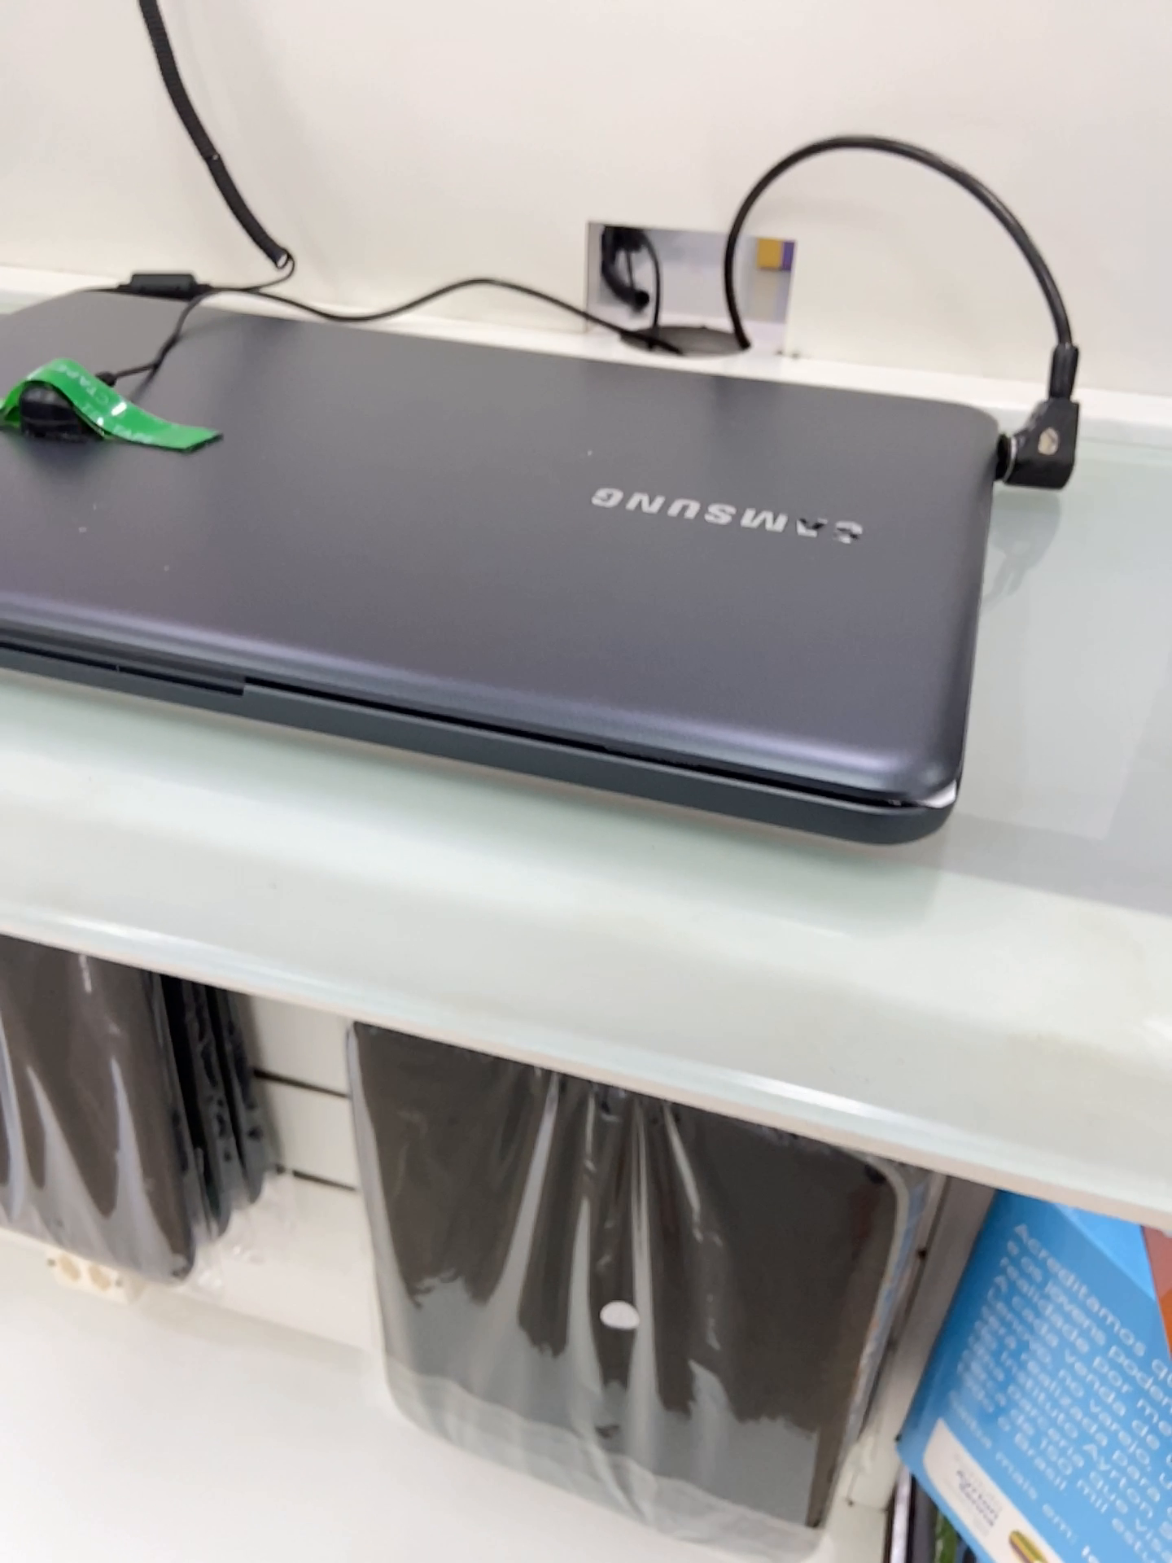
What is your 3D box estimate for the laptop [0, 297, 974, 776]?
[{"bbox_3d":[-0.070,-0.099,0.363,0.350,0.001,0.234,11,36,13],"label":"laptop"}]
